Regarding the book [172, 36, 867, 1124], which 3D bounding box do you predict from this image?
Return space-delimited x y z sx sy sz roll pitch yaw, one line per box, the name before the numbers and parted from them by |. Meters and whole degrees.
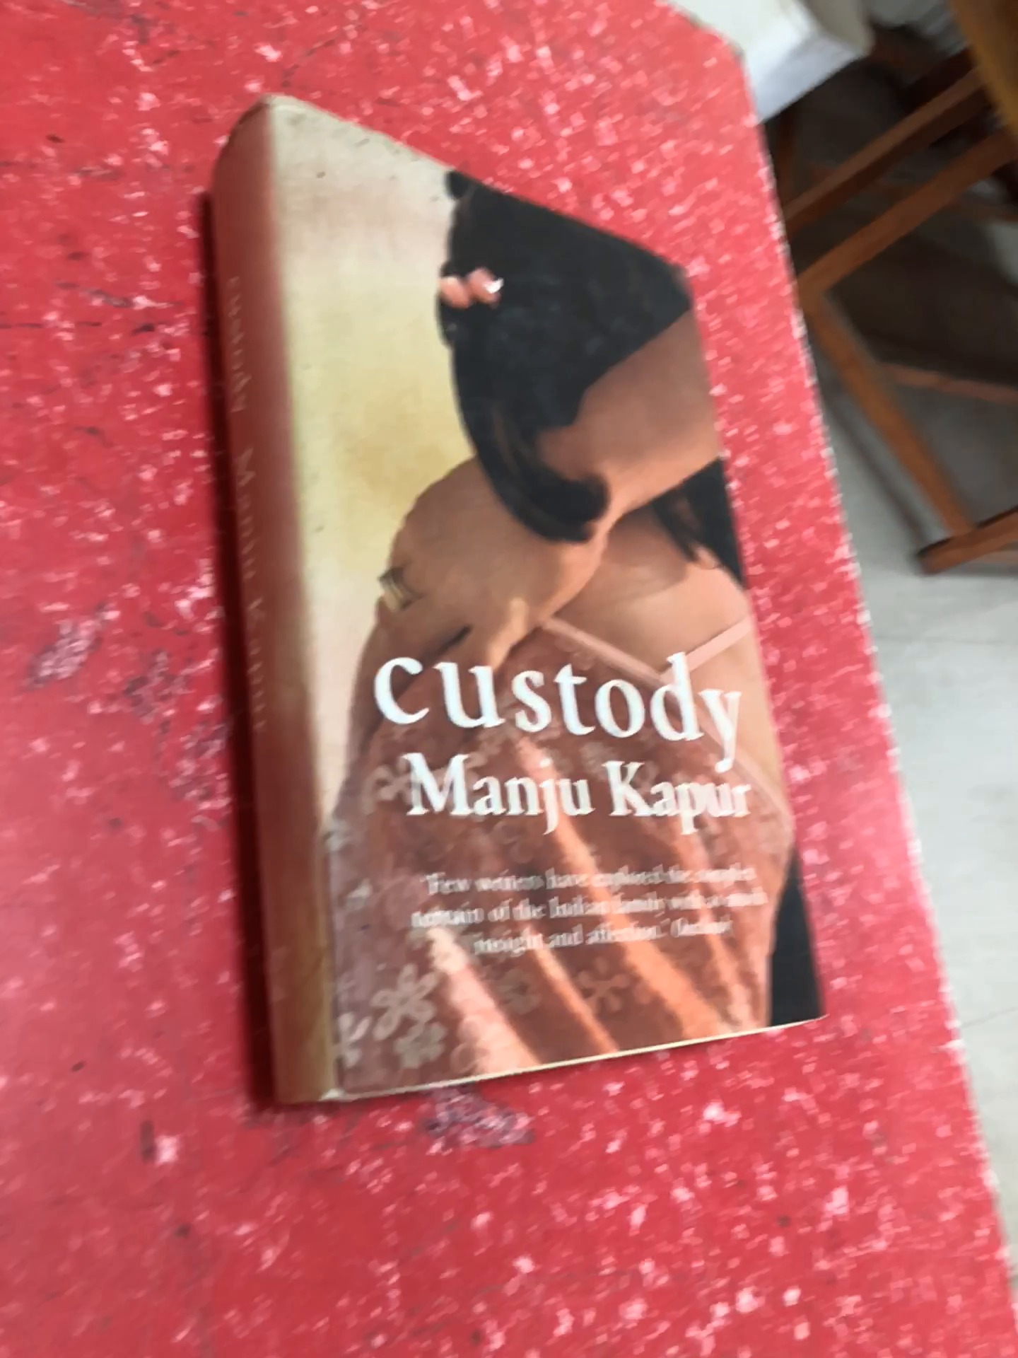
book | 0.002 -0.023 0.271 0.141 0.040 0.220 4 69 -38
